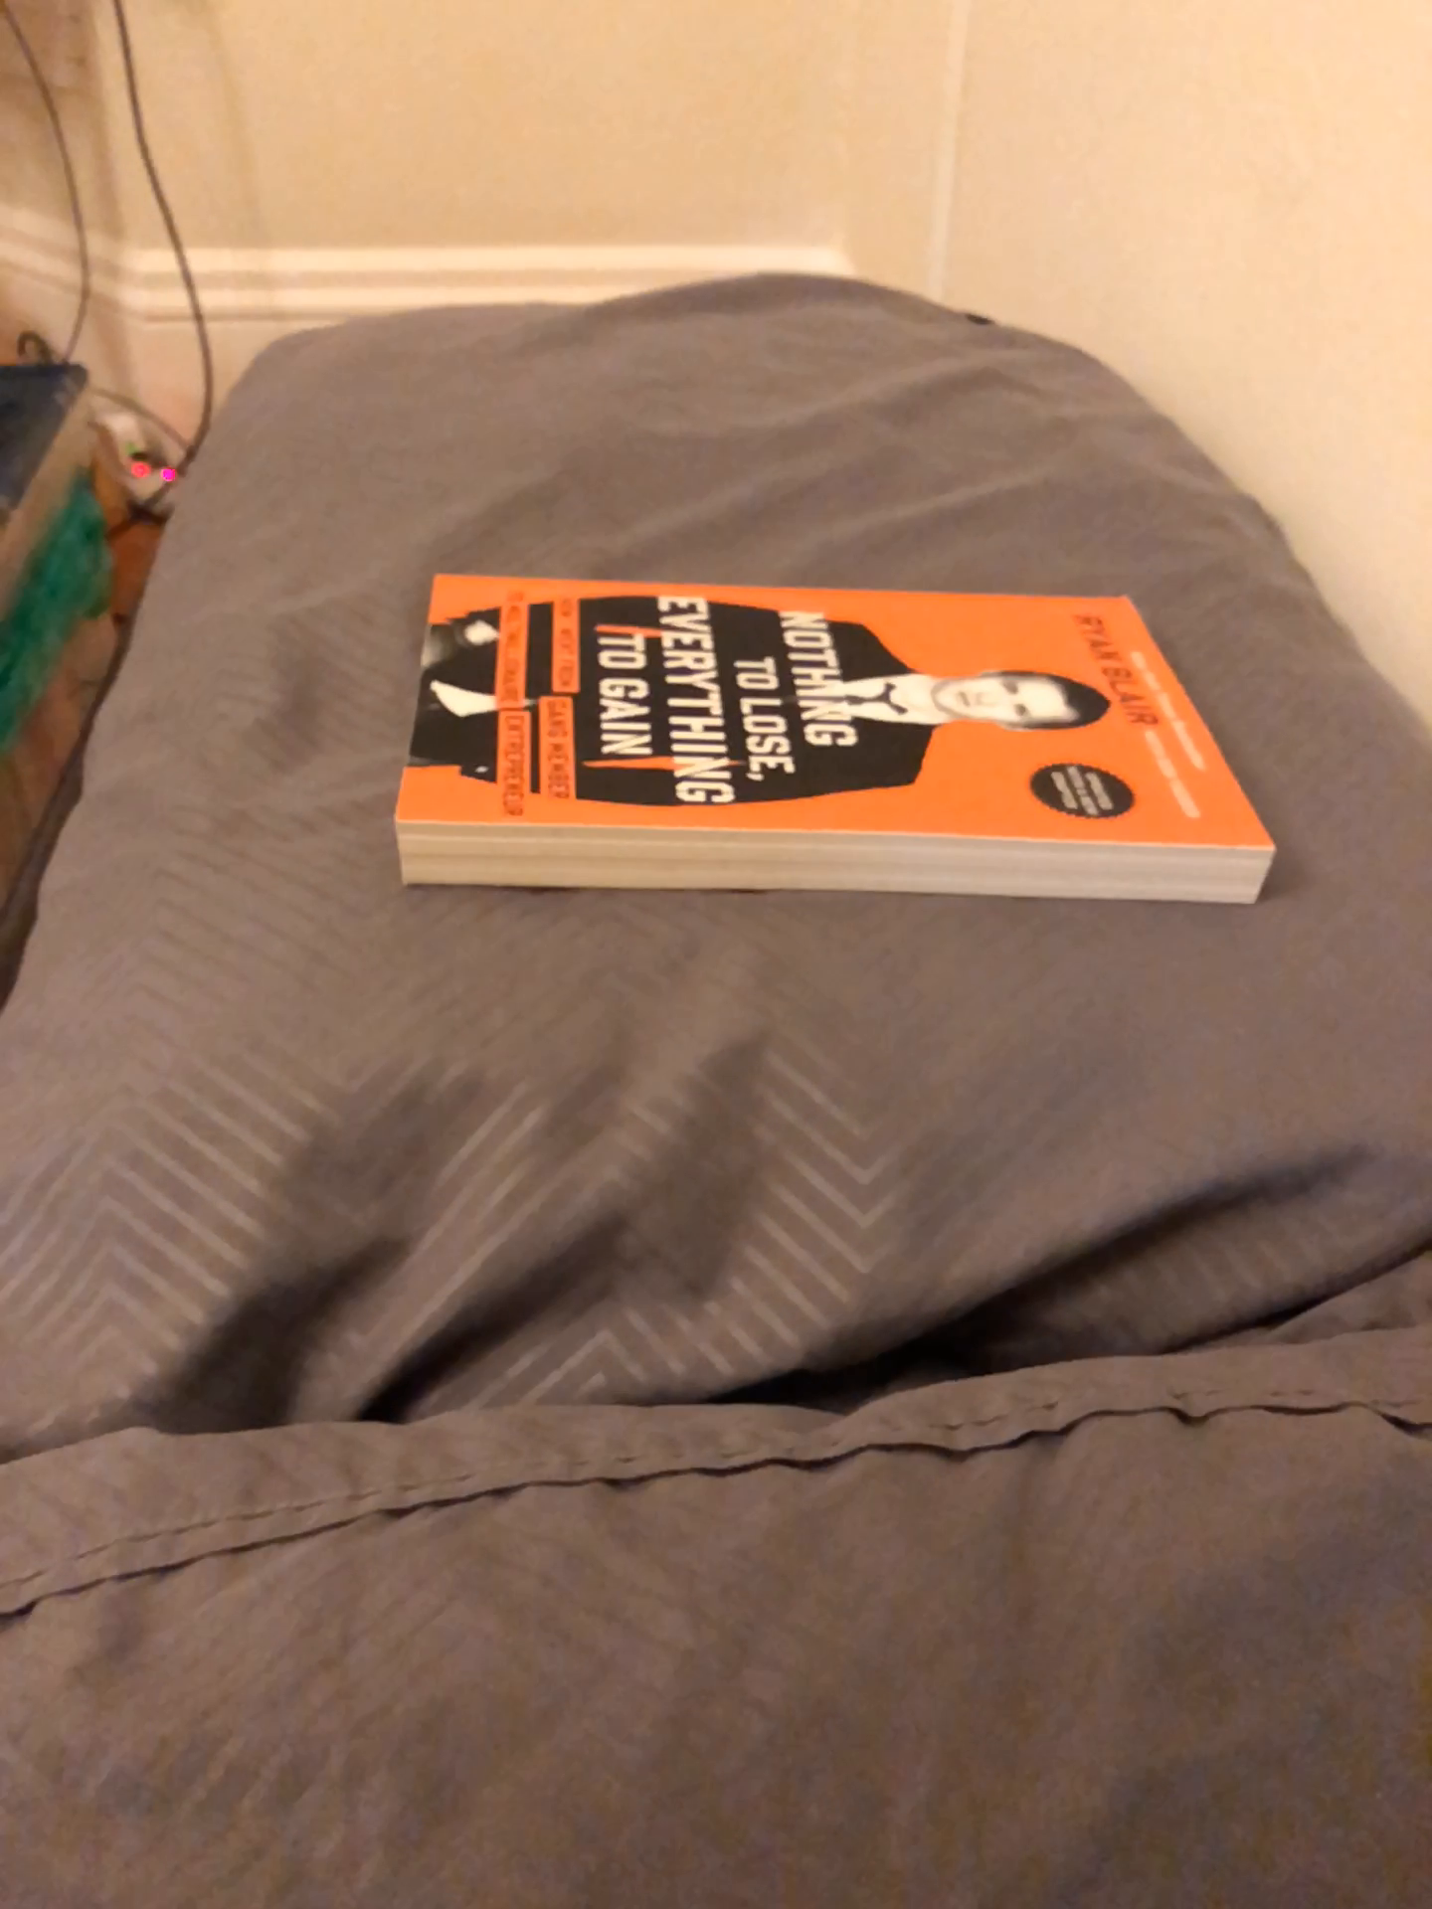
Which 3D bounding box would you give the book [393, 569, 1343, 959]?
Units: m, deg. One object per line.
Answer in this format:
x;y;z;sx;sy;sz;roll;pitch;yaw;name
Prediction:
0.034;-0.058;0.443;0.230;0.020;0.151;1;42;-6;book
